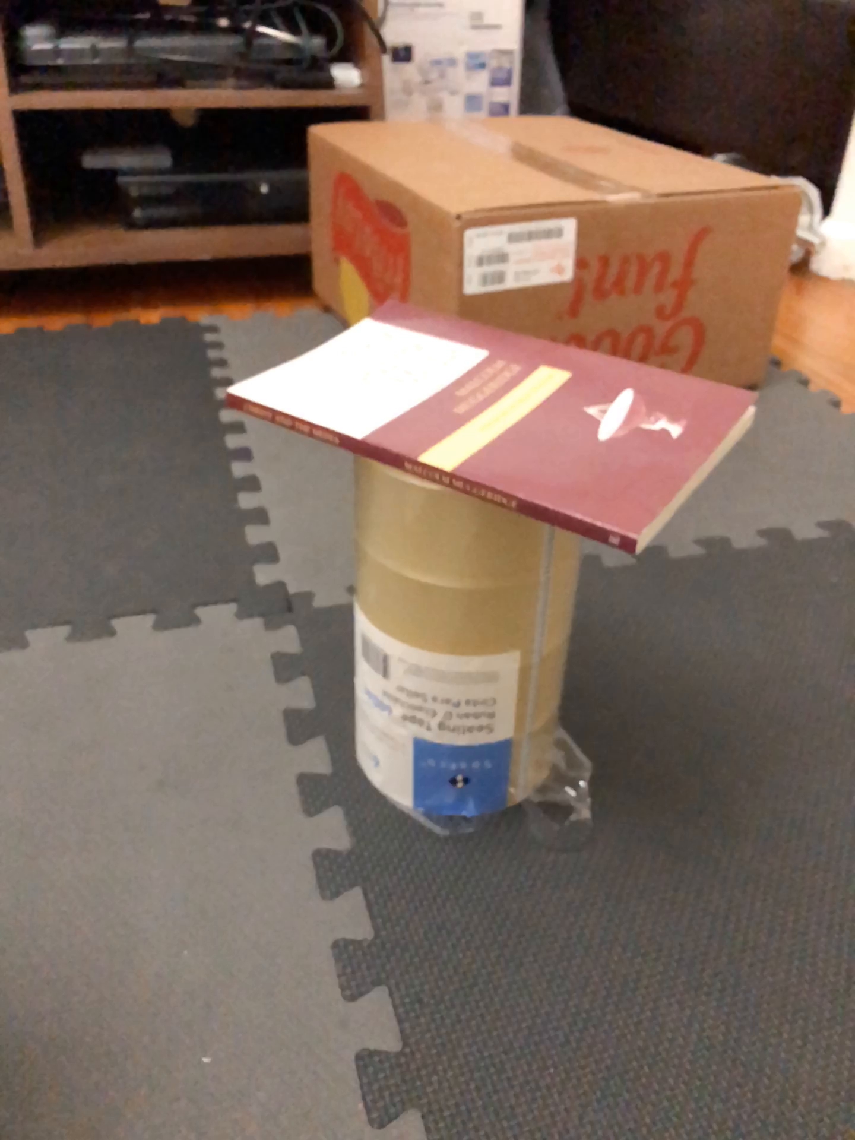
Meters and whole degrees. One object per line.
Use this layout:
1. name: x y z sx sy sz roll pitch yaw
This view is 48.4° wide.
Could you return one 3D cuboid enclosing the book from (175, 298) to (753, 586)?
1. book: 0.017 -0.070 0.420 0.210 0.020 0.141 21 39 25
